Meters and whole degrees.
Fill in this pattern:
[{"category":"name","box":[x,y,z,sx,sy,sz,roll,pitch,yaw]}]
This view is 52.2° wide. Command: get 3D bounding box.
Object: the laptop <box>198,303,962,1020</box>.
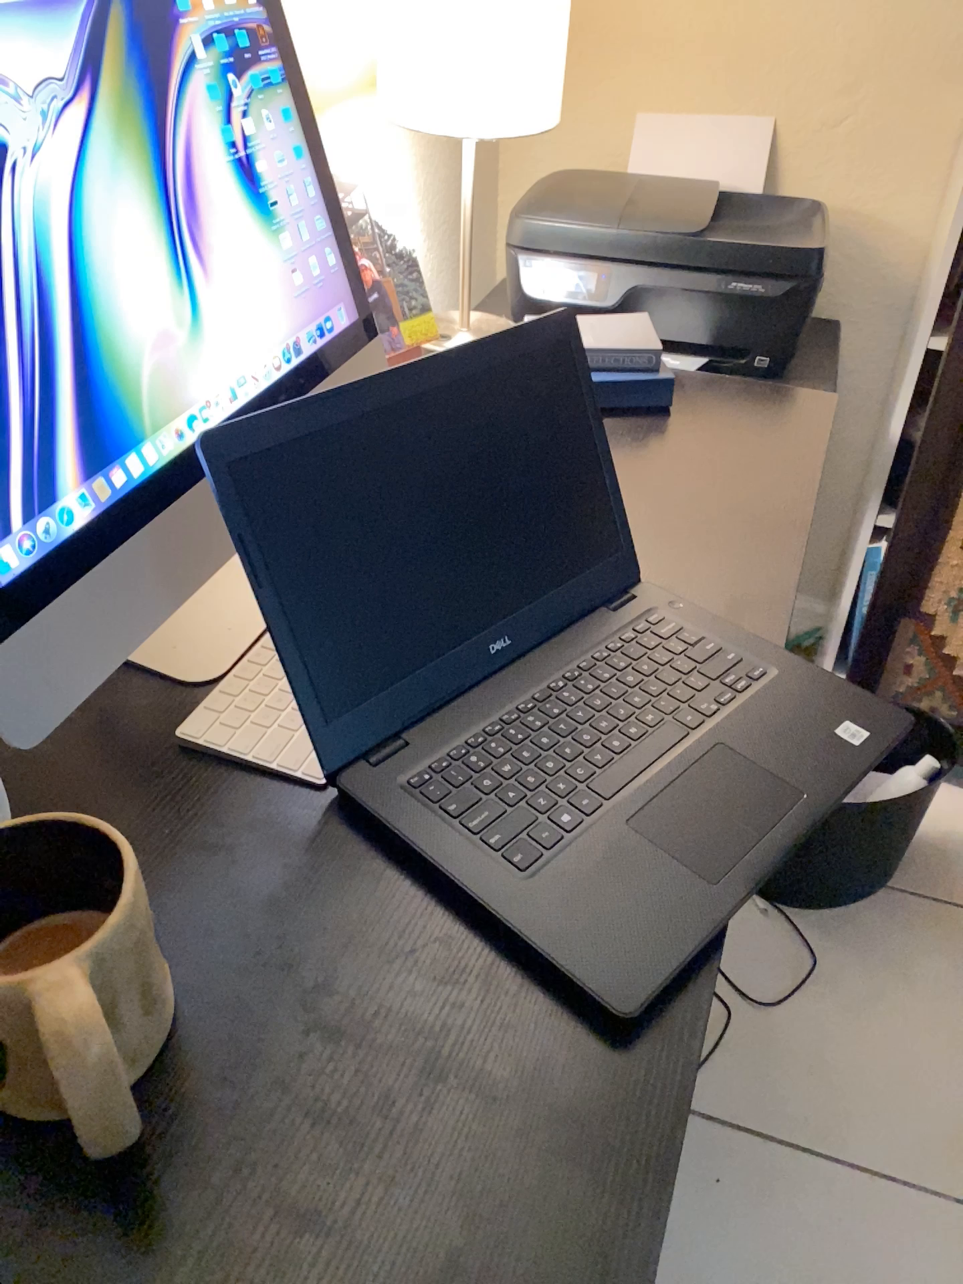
[{"category":"laptop","box":[0.073,-0.034,0.639,0.343,0.206,0.337,32,47,33]}]
